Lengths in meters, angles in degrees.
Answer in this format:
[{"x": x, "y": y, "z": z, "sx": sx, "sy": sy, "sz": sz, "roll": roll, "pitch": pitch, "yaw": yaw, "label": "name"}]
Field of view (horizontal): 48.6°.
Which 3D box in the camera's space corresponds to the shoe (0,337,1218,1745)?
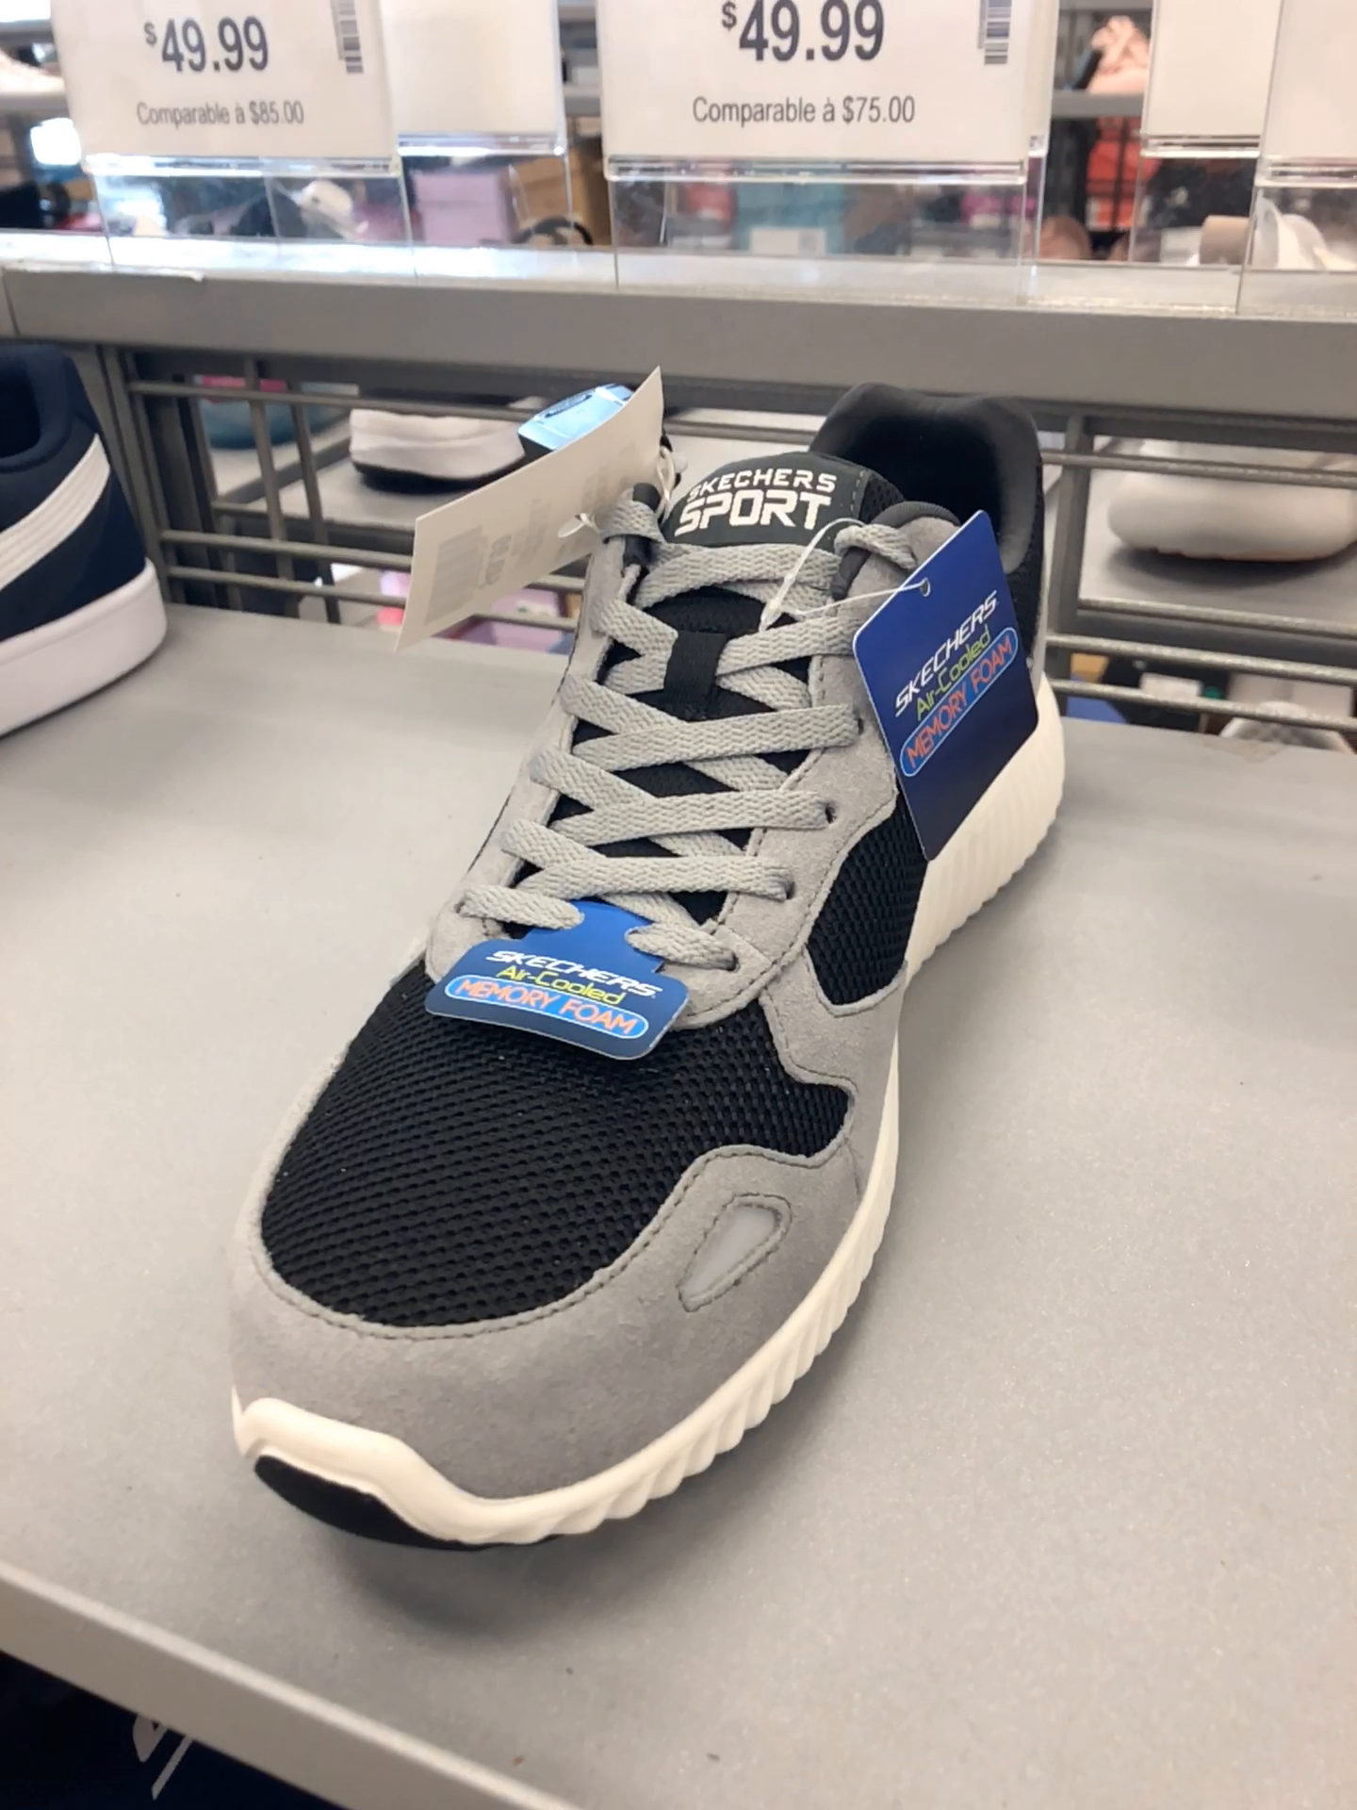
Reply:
[{"x": 0.012, "y": -0.021, "z": 0.315, "sx": 0.120, "sy": 0.119, "sz": 0.302, "roll": 14, "pitch": 36, "yaw": 24, "label": "shoe"}]
